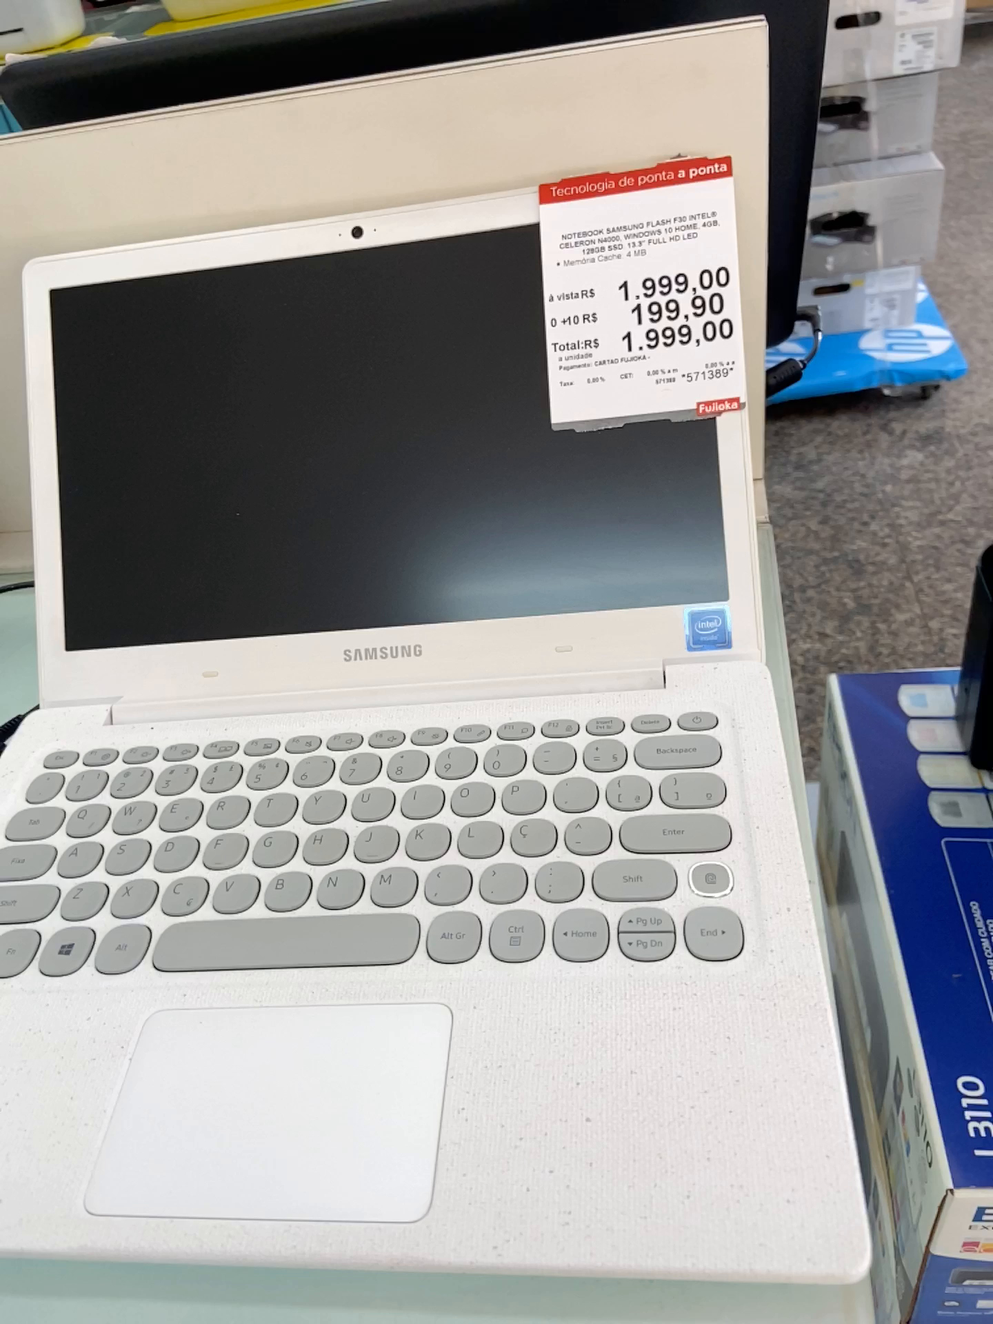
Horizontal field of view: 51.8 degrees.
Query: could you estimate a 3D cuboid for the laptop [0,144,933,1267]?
[{"bbox_3d":[-0.063,-0.022,0.354,0.314,0.140,0.362,-4,42,10],"label":"laptop"}]
